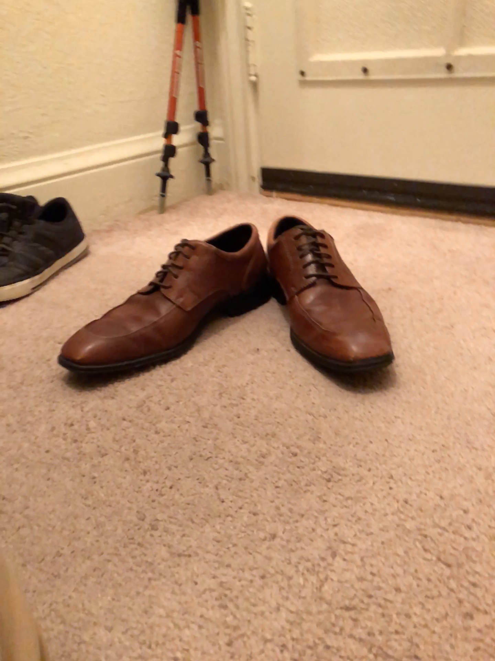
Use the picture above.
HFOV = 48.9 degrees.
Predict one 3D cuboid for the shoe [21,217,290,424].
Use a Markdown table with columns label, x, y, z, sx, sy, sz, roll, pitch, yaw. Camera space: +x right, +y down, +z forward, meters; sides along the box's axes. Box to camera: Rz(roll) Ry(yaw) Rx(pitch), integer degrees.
| label | x | y | z | sx | sy | sz | roll | pitch | yaw |
| --- | --- | --- | --- | --- | --- | --- | --- | --- | --- |
| shoe | -0.091 | -0.032 | 0.663 | 0.120 | 0.119 | 0.301 | 20 | 36 | 38 |

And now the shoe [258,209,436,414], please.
| label | x | y | z | sx | sy | sz | roll | pitch | yaw |
| --- | --- | --- | --- | --- | --- | --- | --- | --- | --- |
| shoe | 0.095 | -0.044 | 0.637 | 0.100 | 0.109 | 0.302 | -8 | 28 | -8 |
